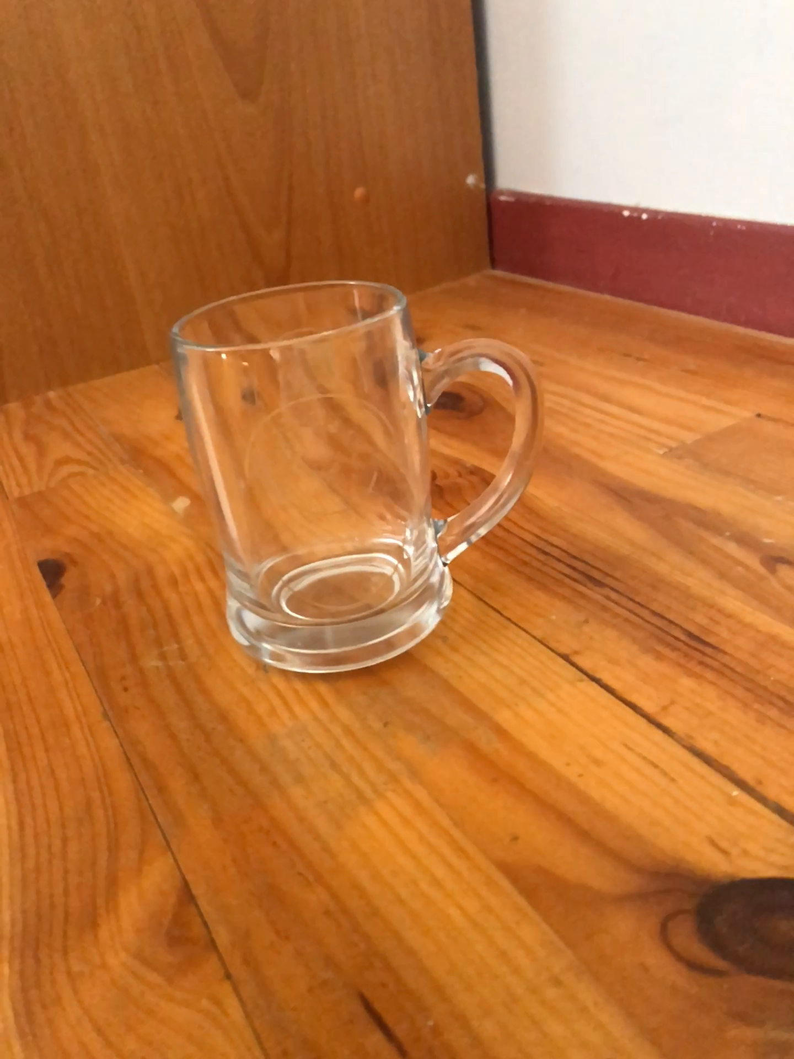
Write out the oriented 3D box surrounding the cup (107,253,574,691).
[{"bbox_3d":[-0.012,-0.023,0.308,0.128,0.110,0.091,-7,29,1],"label":"cup"}]
